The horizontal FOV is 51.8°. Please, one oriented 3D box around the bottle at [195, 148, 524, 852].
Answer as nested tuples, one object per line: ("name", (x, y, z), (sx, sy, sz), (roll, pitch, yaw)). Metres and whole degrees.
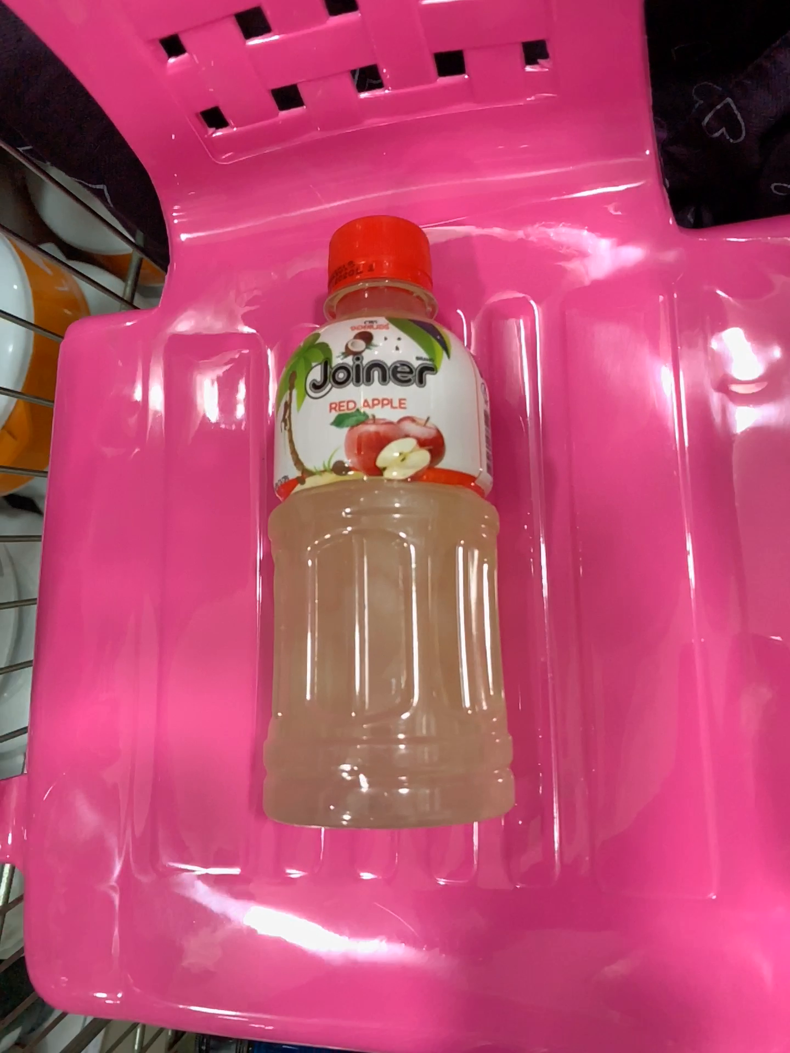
("bottle", (-0.009, -0.005, 0.214), (0.070, 0.050, 0.160), (-4, 81, 14))
